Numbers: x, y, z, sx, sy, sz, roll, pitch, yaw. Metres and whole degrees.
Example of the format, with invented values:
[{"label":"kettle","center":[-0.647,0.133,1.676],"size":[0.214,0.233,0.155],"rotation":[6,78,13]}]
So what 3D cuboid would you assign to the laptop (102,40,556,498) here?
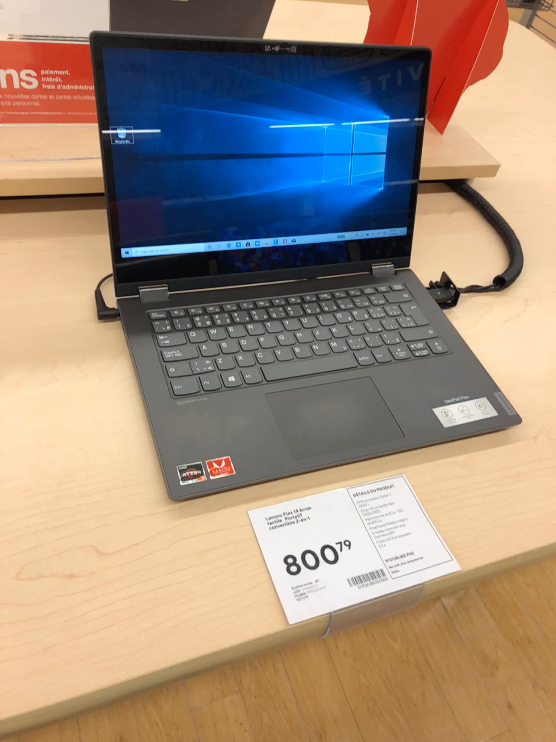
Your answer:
[{"label":"laptop","center":[0.040,-0.109,0.523],"size":[0.319,0.199,0.307],"rotation":[-9,50,-21]}]
